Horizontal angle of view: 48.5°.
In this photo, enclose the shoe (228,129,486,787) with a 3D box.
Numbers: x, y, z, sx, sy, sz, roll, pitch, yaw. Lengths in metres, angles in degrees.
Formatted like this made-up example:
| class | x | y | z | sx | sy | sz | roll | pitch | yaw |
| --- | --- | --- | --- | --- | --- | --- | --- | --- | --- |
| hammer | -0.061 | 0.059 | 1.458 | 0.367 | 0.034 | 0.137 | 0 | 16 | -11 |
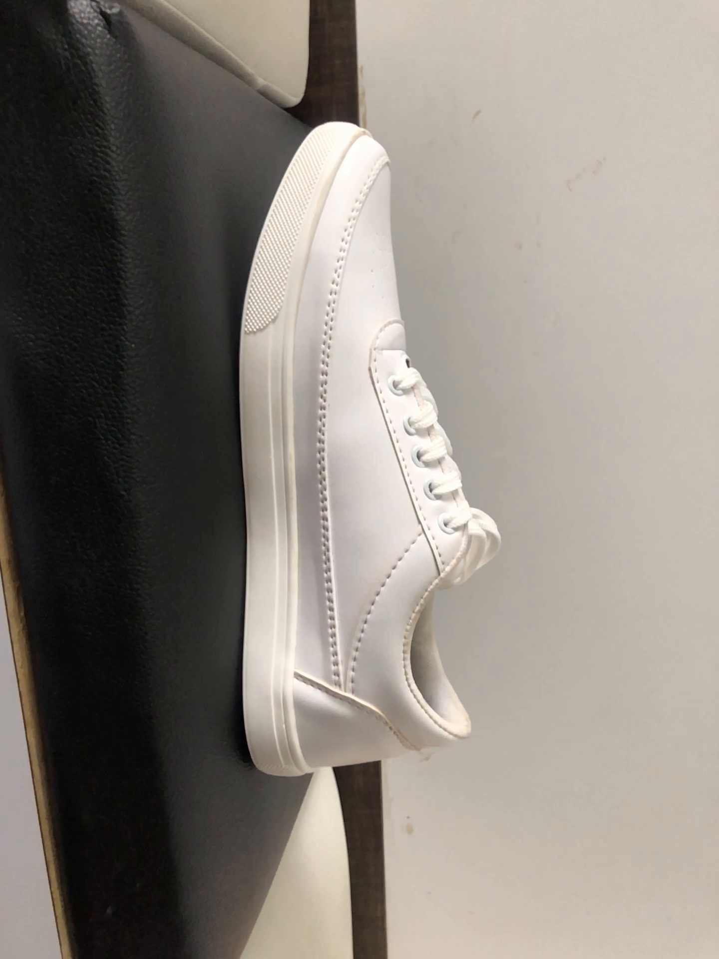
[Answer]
| class | x | y | z | sx | sy | sz | roll | pitch | yaw |
| --- | --- | --- | --- | --- | --- | --- | --- | --- | --- |
| shoe | 0.010 | -0.010 | 0.422 | 0.130 | 0.110 | 0.290 | -38 | 128 | -78 |
